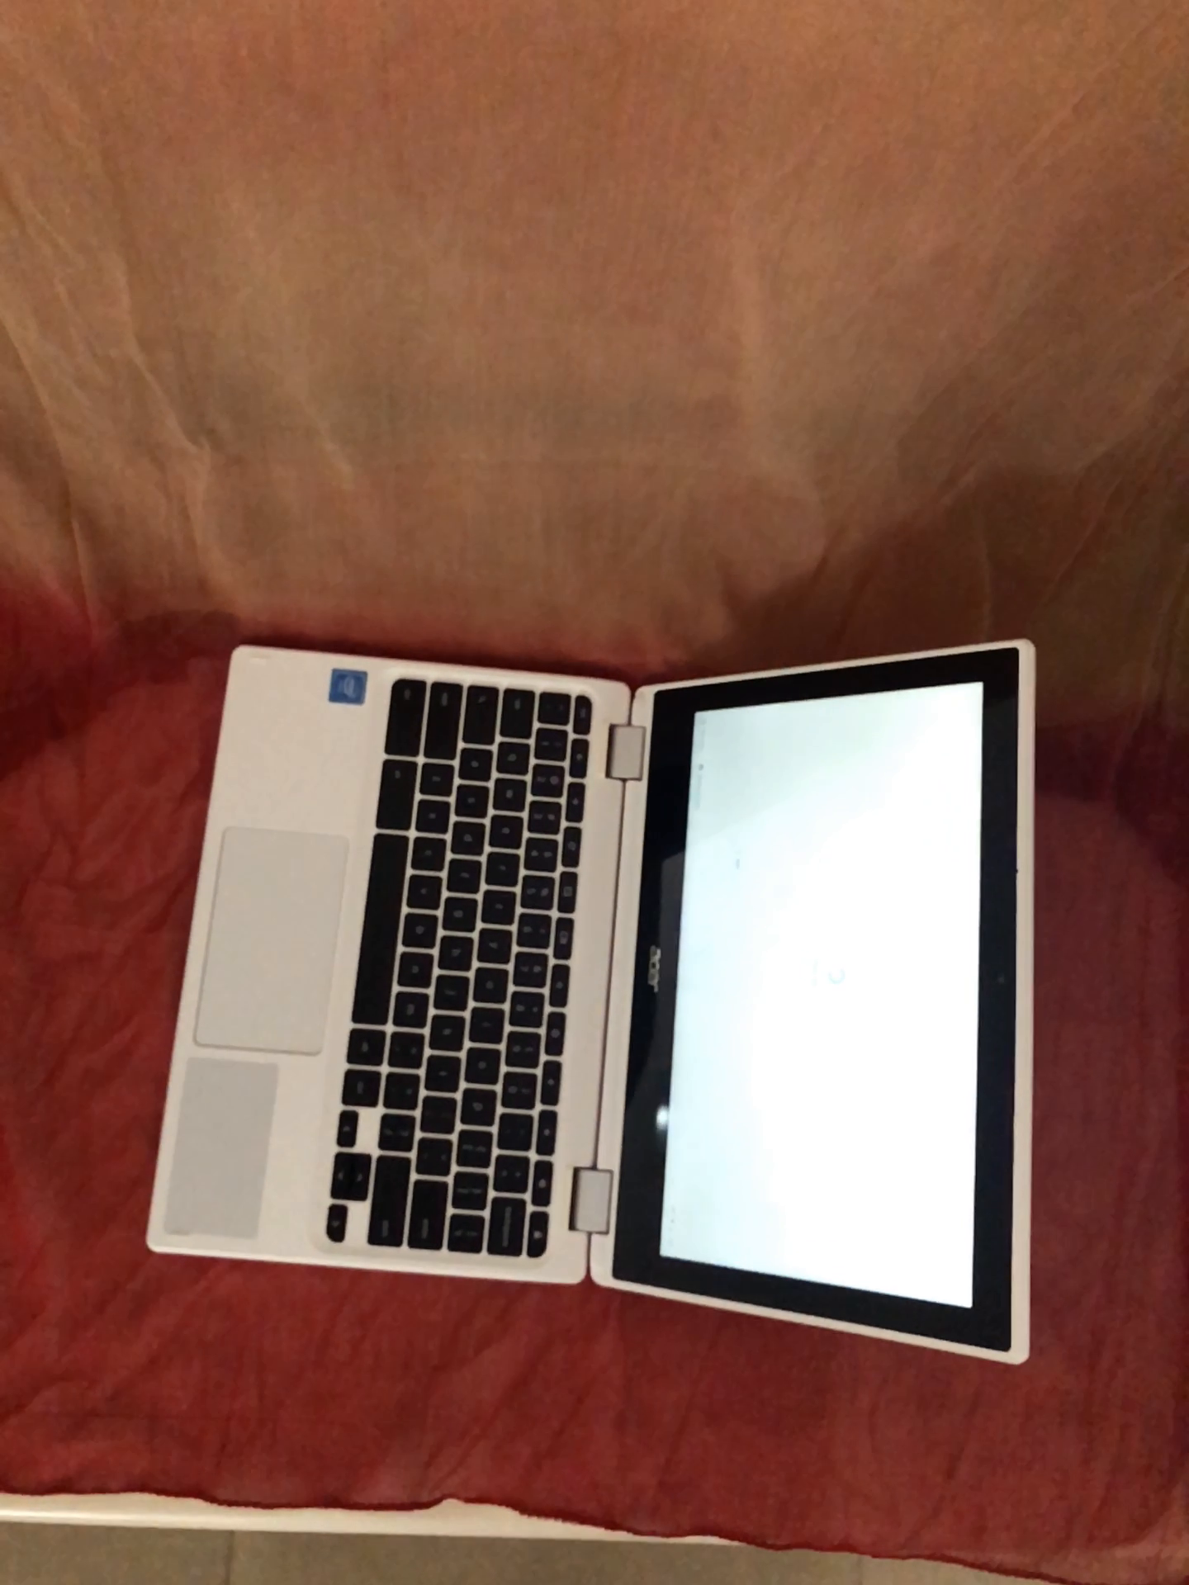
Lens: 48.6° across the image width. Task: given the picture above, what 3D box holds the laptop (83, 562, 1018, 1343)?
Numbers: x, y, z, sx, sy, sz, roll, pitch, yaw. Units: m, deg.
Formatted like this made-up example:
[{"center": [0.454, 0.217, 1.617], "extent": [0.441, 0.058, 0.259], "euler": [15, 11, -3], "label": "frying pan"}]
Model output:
[{"center": [-0.008, 0.067, 0.558], "extent": [0.337, 0.113, 0.263], "euler": [6, 77, -1], "label": "laptop"}]
